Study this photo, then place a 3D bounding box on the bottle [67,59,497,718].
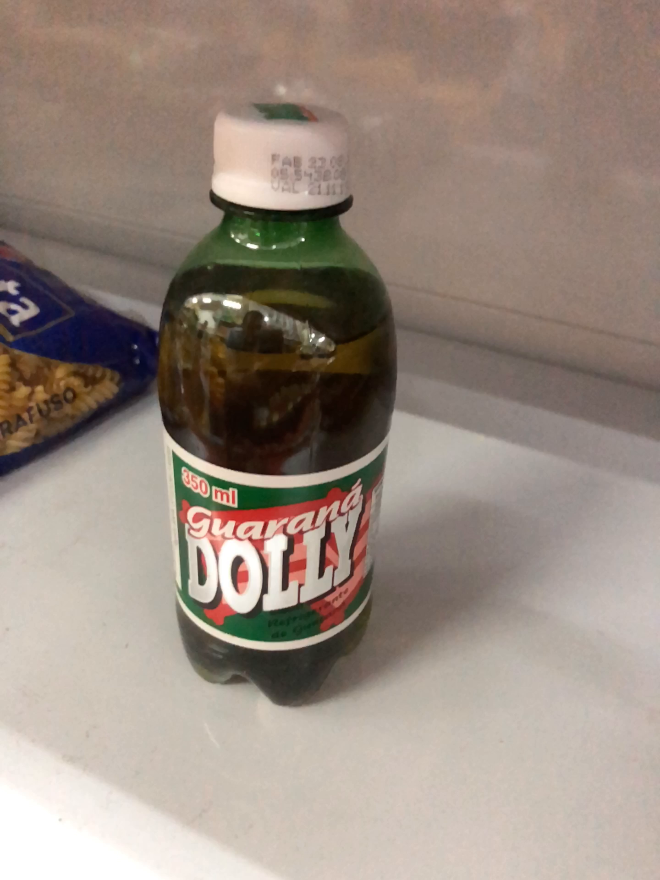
[{"bbox_3d":[-0.014,-0.006,0.218,0.080,0.179,0.071,-1,35,-5],"label":"bottle"}]
